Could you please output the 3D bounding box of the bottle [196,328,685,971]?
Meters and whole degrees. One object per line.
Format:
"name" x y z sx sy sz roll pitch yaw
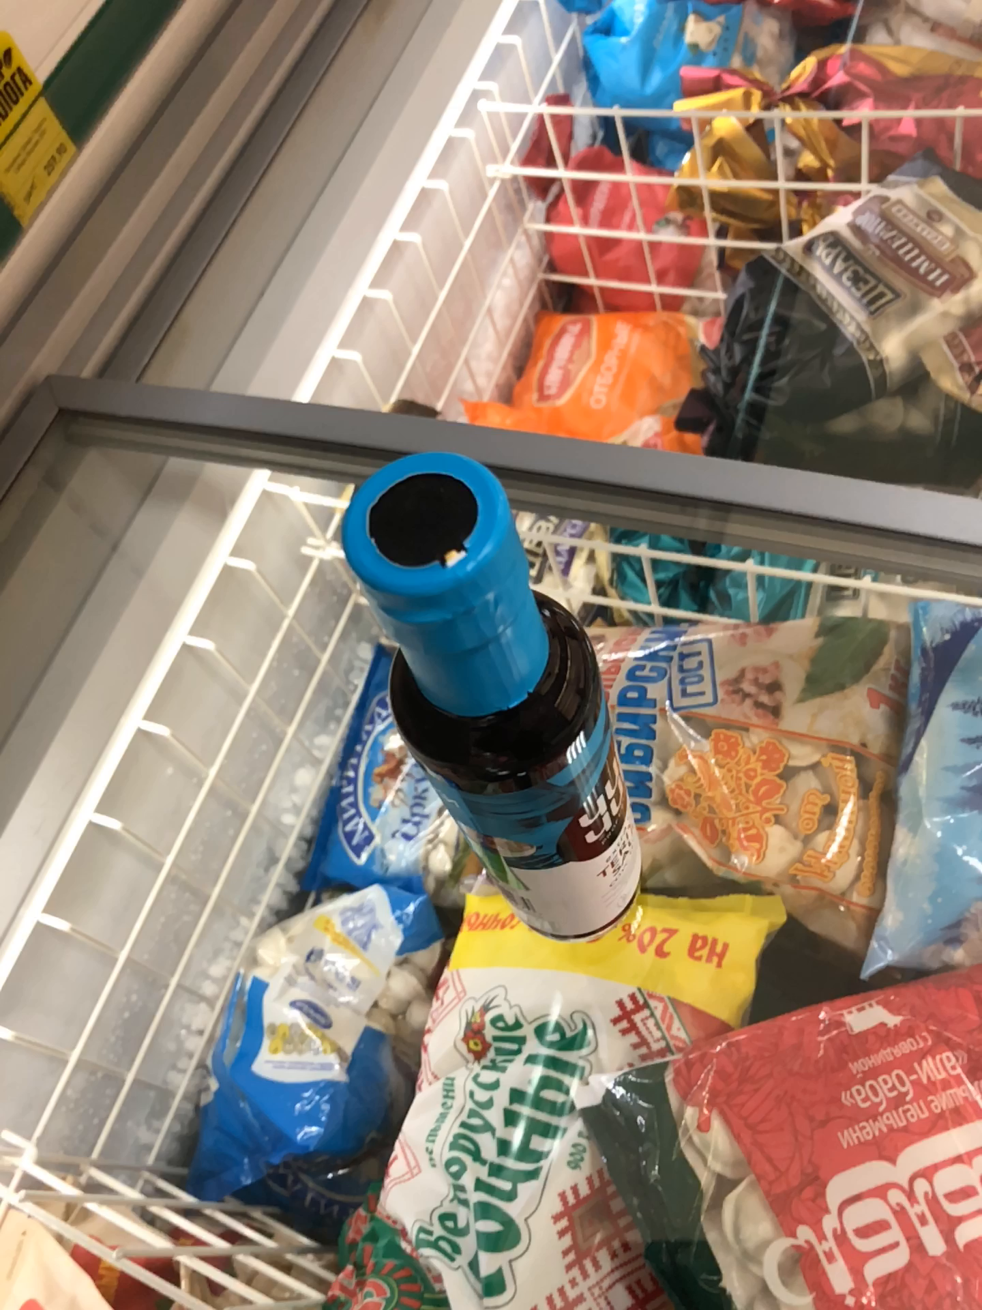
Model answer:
"bottle" 0.008 0.019 0.286 0.060 0.219 0.060 -6 59 11
